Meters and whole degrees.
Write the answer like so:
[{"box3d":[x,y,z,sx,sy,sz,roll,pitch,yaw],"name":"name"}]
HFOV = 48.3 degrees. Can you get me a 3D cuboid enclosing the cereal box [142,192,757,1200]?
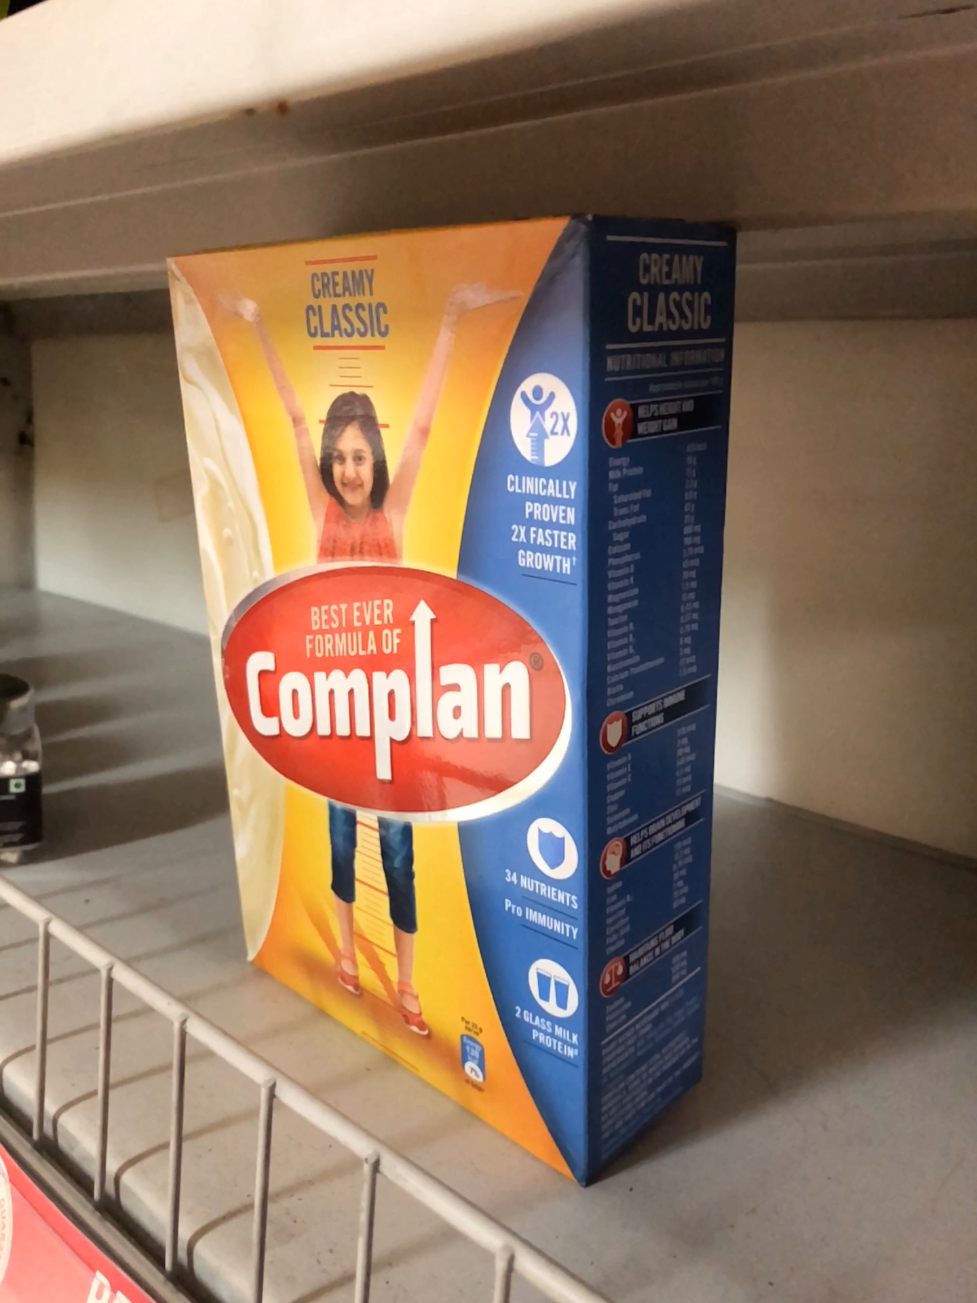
[{"box3d":[-0.017,0.002,0.274,0.150,0.199,0.050,13,21,43],"name":"cereal box"}]
